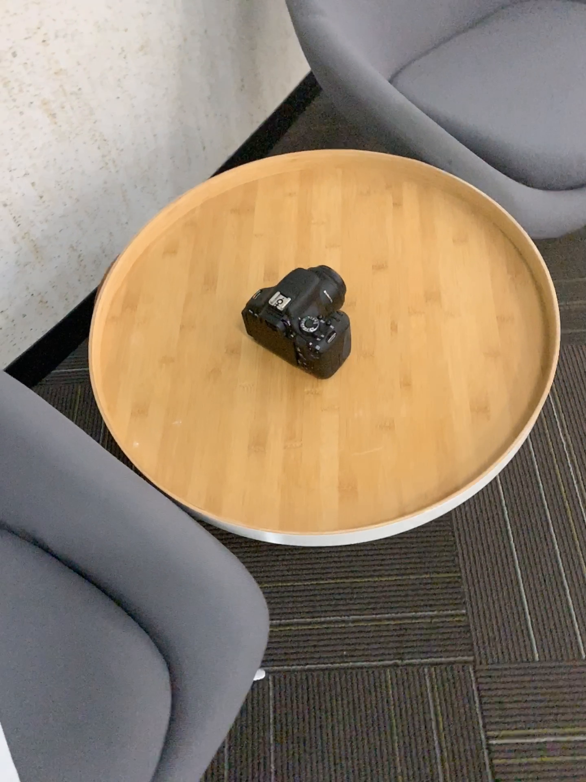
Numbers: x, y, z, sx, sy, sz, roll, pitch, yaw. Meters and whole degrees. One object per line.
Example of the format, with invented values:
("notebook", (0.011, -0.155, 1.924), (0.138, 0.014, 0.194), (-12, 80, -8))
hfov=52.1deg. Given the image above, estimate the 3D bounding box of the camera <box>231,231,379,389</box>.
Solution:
("camera", (0.018, -0.102, 0.757), (0.134, 0.100, 0.117), (32, 68, 21))
